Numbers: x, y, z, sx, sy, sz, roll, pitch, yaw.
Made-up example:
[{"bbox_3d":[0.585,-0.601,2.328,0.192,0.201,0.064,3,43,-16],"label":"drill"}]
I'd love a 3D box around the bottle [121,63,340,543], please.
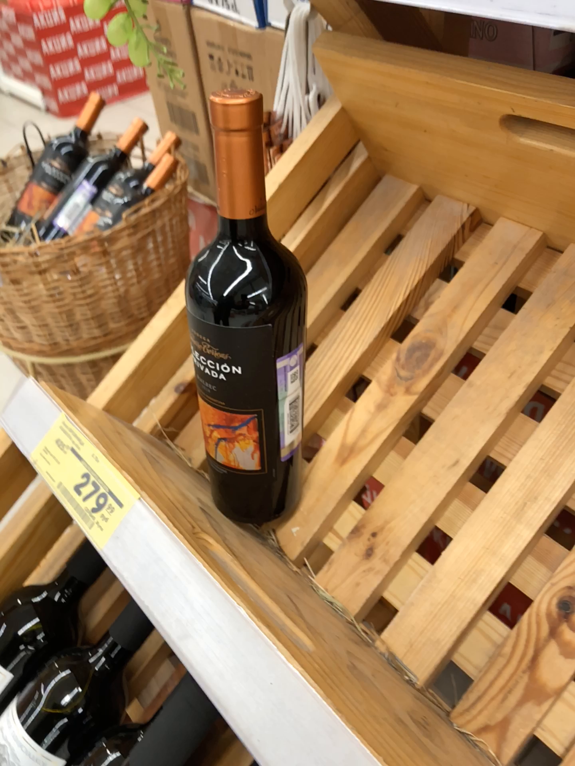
[{"bbox_3d":[-0.031,-0.040,0.416,0.080,0.288,0.087,0,35,0],"label":"bottle"}]
